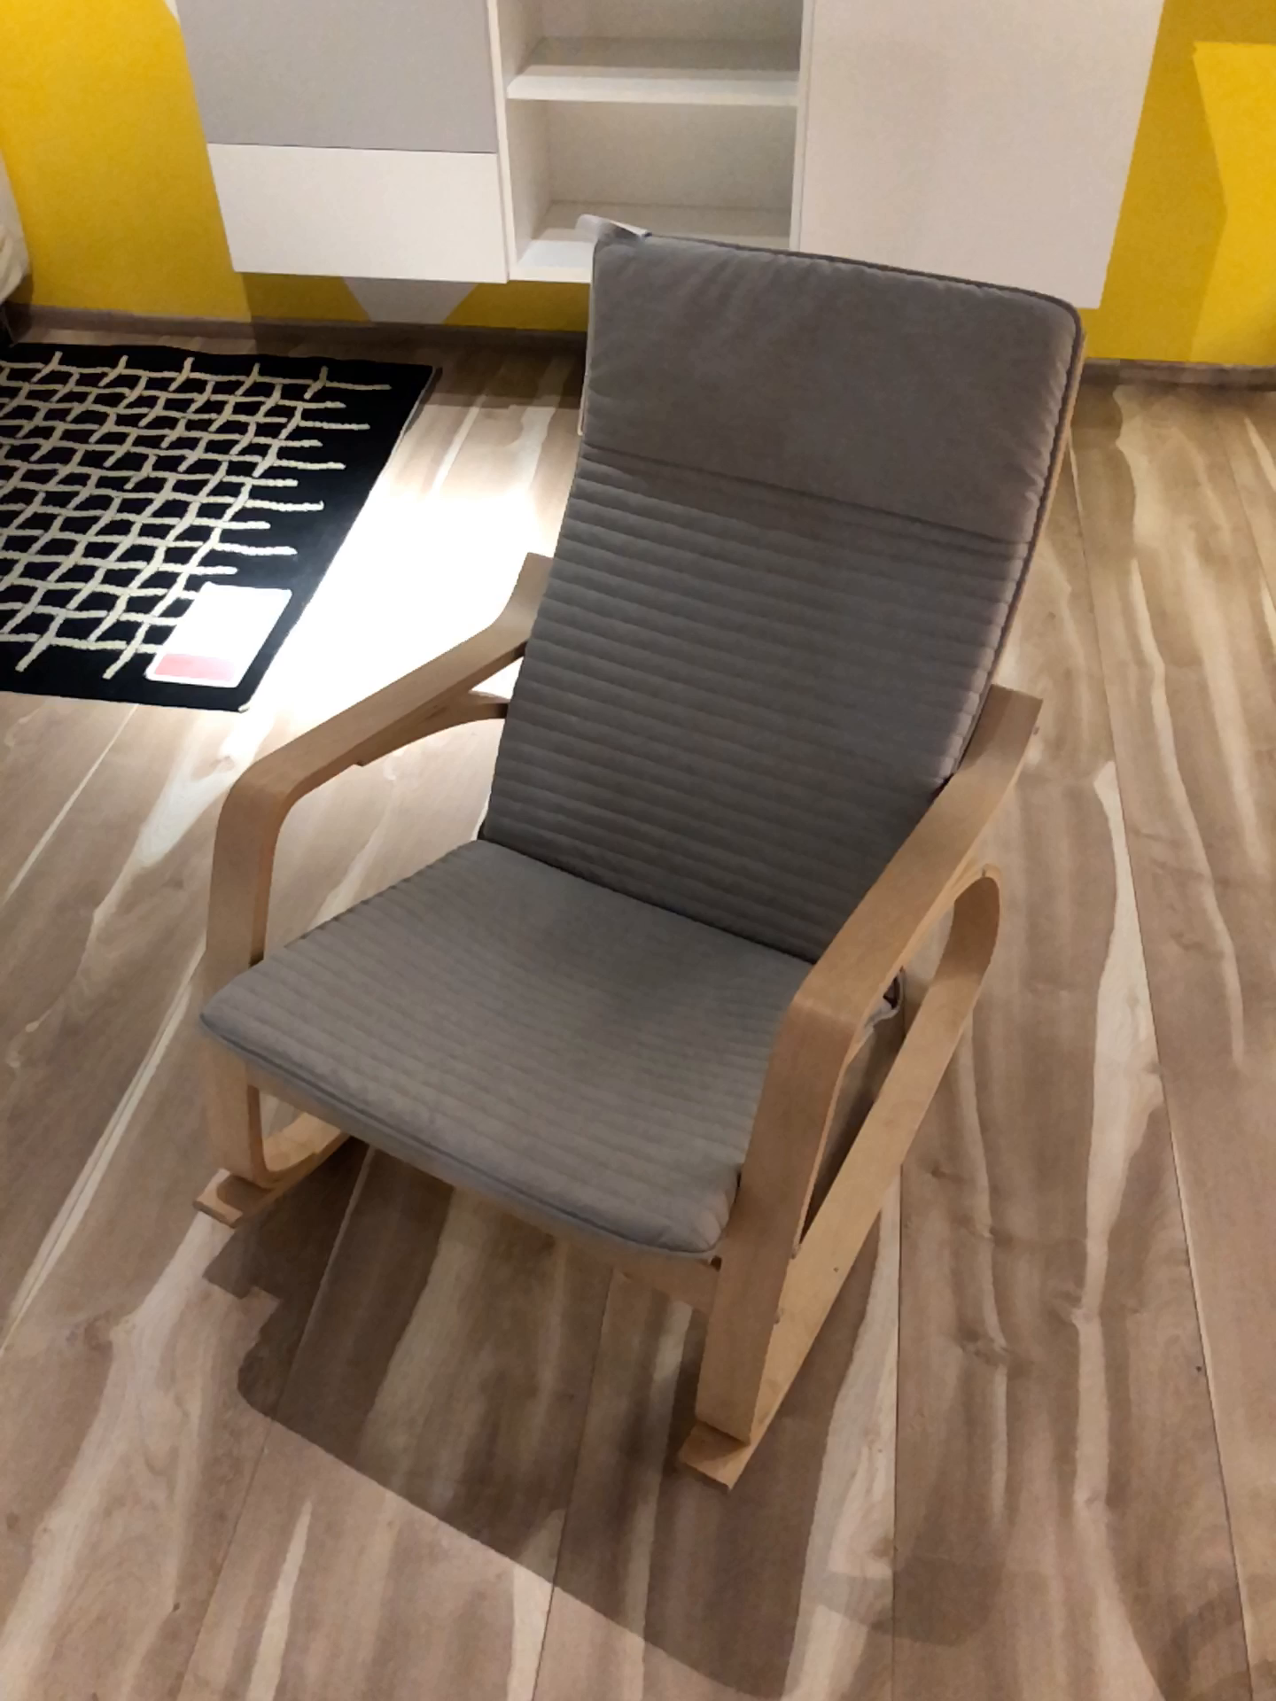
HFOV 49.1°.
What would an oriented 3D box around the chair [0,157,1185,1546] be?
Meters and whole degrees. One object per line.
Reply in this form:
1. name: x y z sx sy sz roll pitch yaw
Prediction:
1. chair: -0.045 -0.017 1.361 0.751 0.944 0.703 19 47 21
